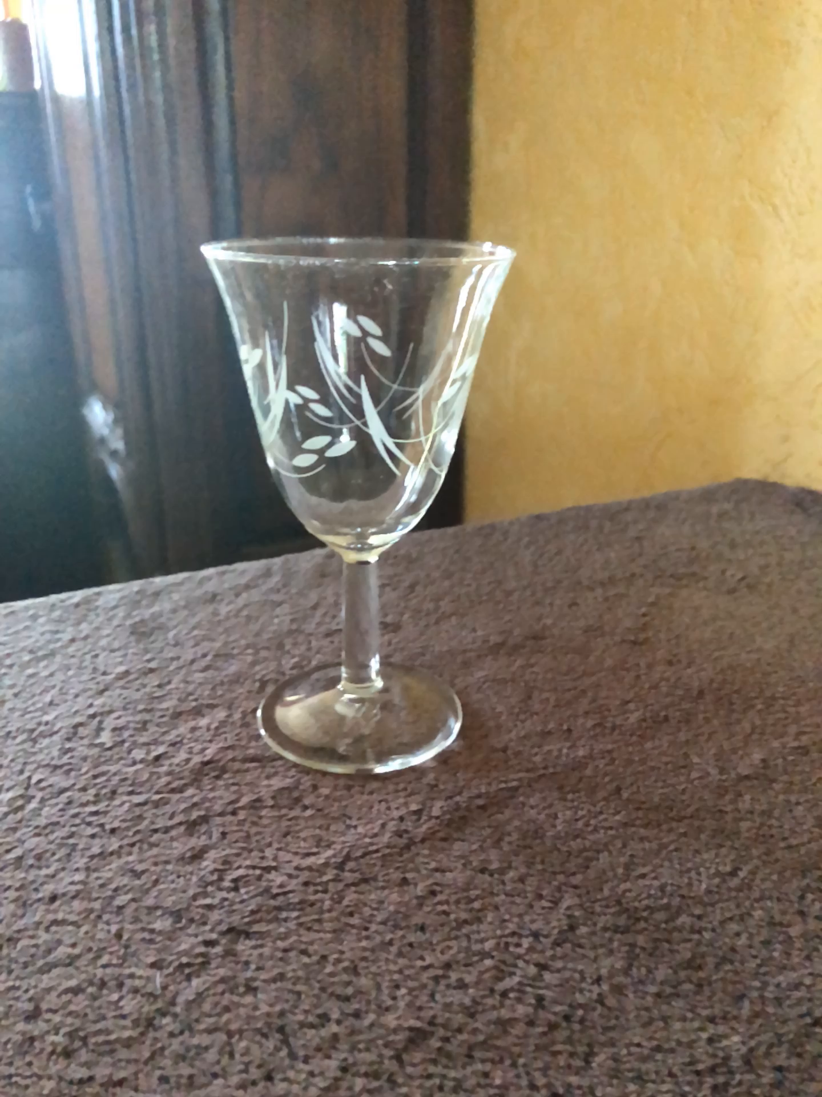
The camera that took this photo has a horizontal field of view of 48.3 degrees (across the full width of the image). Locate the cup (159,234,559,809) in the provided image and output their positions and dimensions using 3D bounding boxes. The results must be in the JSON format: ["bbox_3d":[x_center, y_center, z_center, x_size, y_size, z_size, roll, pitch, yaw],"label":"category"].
[{"bbox_3d":[-0.012,-0.013,0.275,0.090,0.149,0.090,0,21,0],"label":"cup"}]
